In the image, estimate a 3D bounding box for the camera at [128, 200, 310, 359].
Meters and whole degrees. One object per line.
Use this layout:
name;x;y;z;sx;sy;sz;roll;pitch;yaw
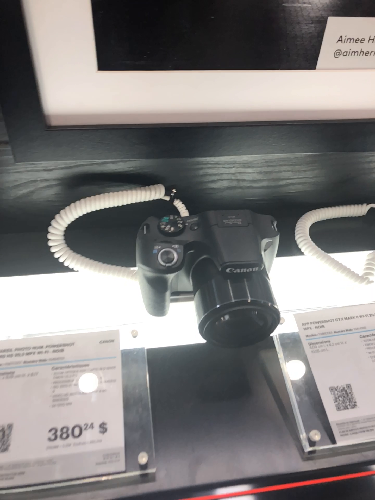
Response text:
camera;0.017;0.024;0.335;0.122;0.099;0.071;-4;41;-9
